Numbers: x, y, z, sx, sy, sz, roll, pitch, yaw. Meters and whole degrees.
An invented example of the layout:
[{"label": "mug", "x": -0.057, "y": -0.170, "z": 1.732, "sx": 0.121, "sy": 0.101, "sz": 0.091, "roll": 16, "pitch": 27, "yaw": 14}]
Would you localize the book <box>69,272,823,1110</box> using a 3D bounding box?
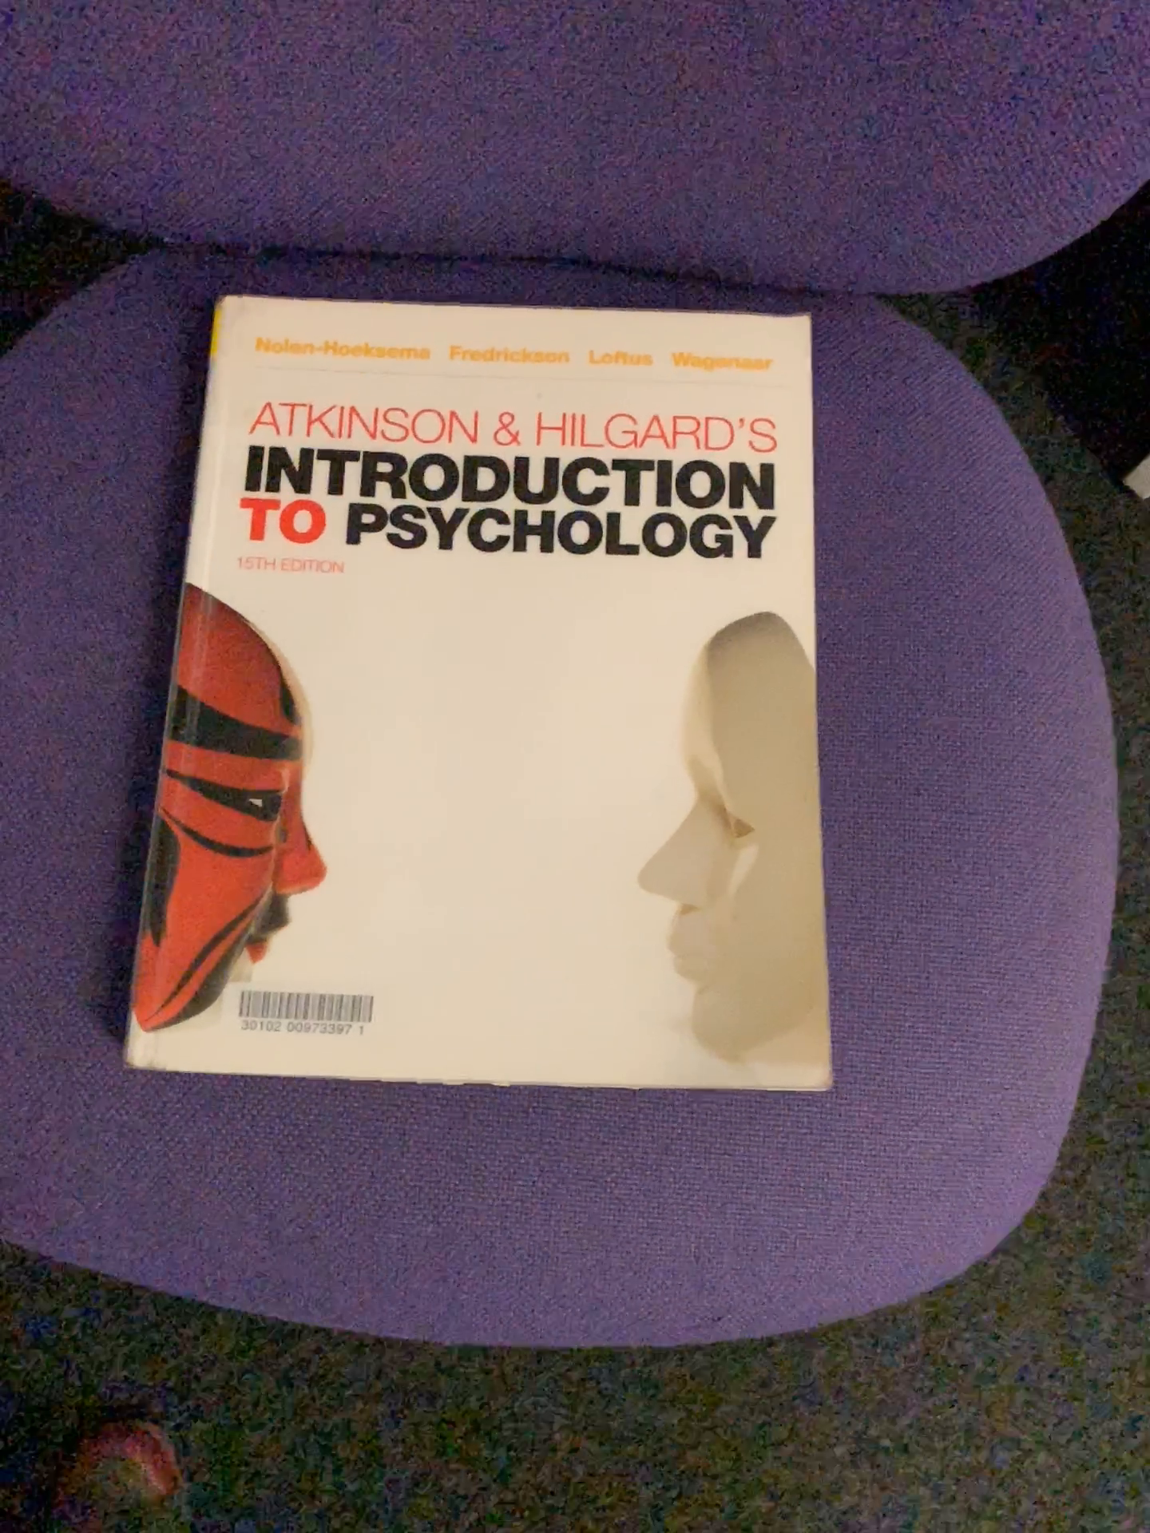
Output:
[{"label": "book", "x": -0.033, "y": -0.034, "z": 0.402, "sx": 0.222, "sy": 0.035, "sz": 0.283, "roll": 2, "pitch": 74, "yaw": 0}]
